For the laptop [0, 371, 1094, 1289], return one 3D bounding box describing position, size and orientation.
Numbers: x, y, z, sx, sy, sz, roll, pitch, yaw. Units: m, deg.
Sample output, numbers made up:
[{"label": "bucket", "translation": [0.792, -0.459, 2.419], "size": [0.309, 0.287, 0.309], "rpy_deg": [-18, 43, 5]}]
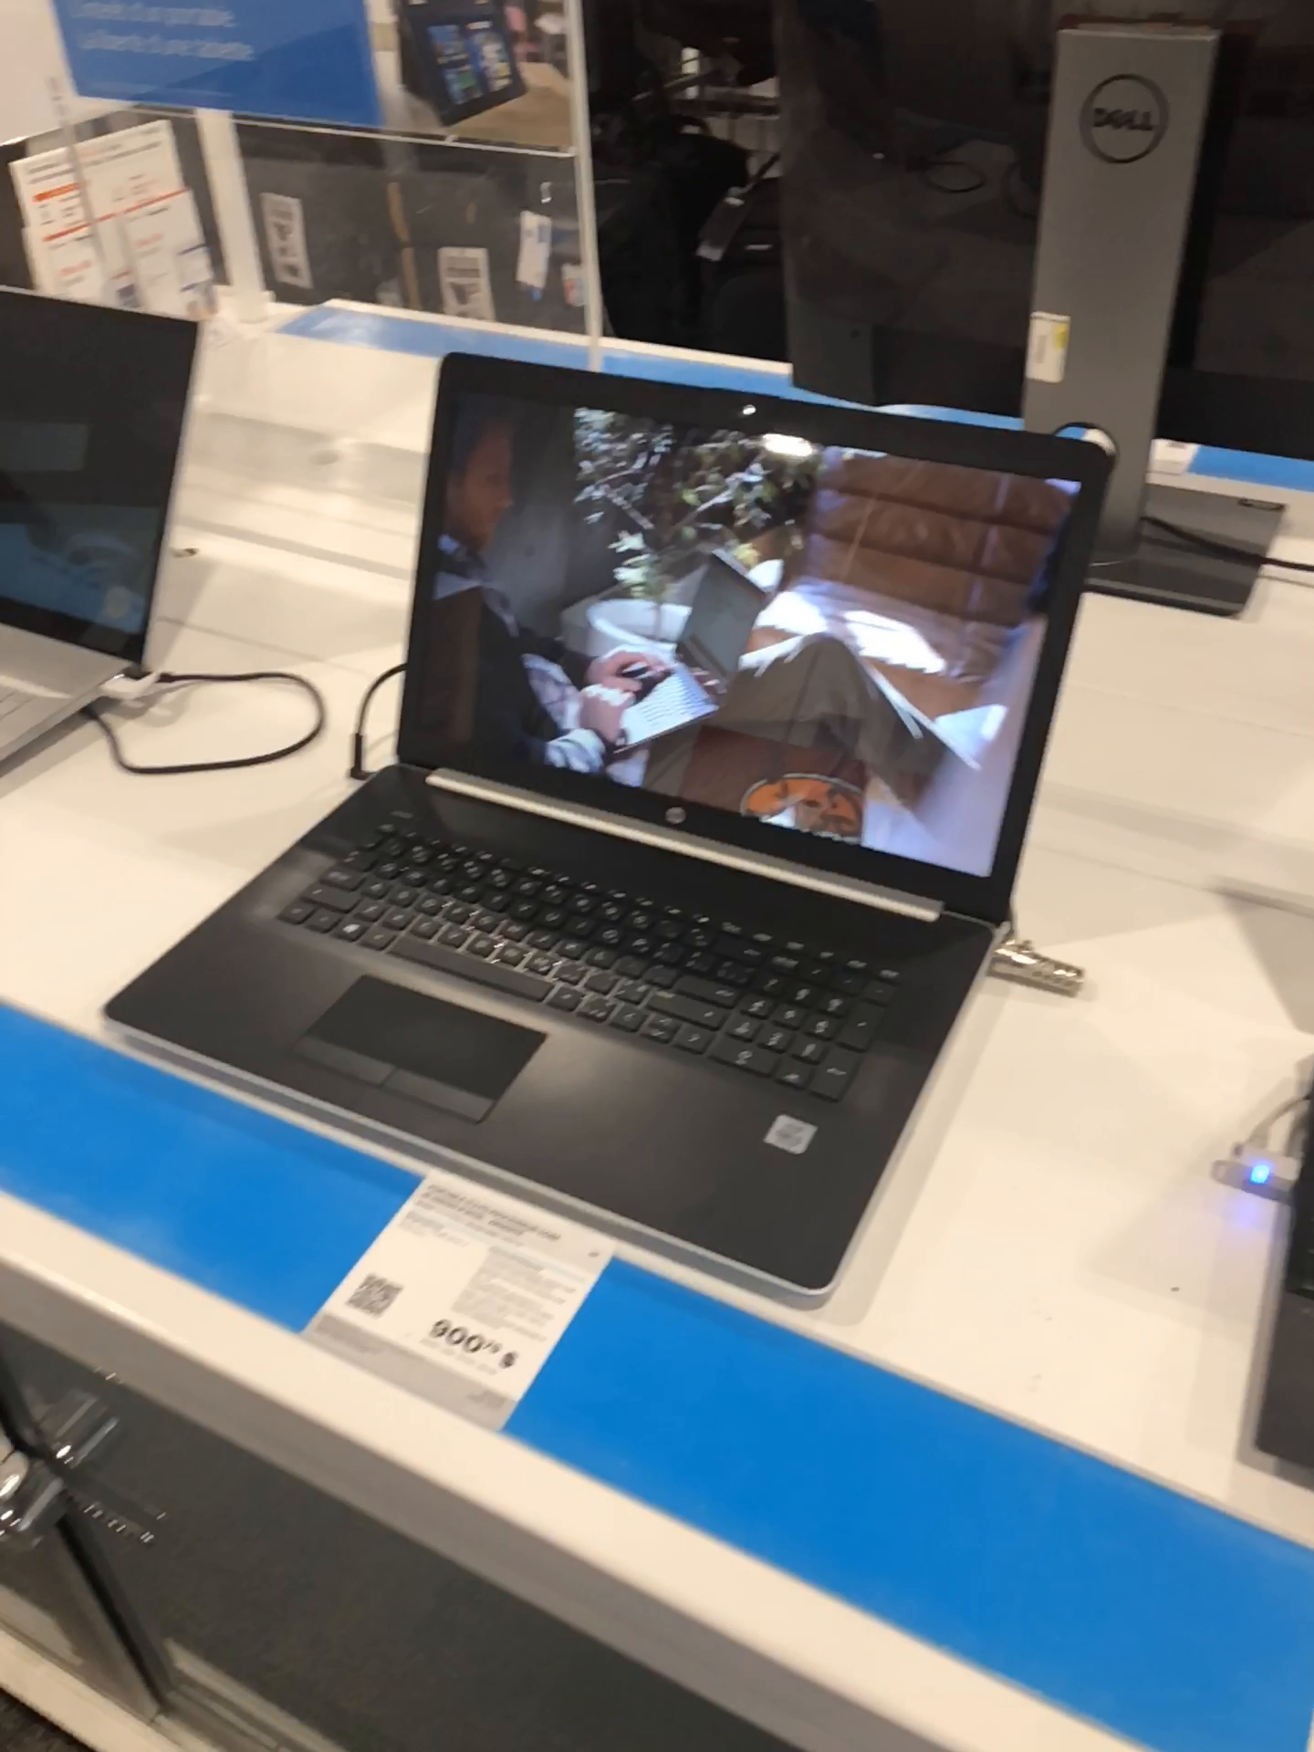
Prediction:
[{"label": "laptop", "translation": [-0.034, -0.071, 0.764], "size": [0.411, 0.242, 0.381], "rpy_deg": [16, 39, 22]}]
